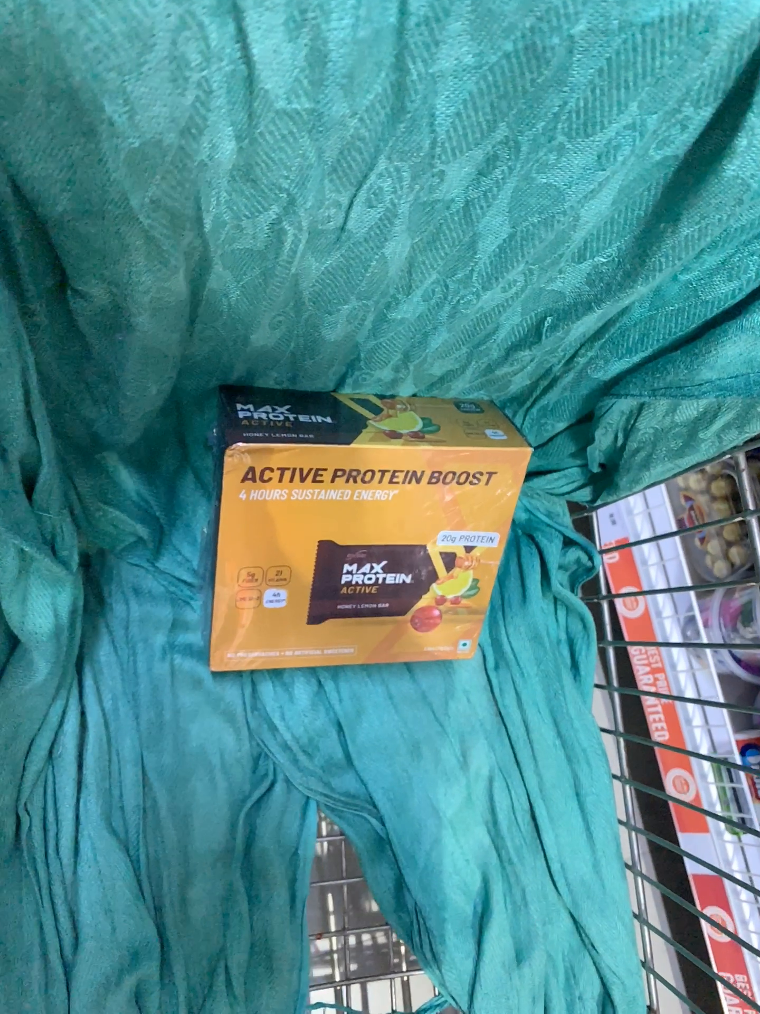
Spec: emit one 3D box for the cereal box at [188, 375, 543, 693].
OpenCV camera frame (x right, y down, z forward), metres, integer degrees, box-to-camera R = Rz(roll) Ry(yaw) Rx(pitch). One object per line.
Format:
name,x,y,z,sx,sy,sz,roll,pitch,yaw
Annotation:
cereal box,-0.018,0.014,0.419,0.160,0.080,0.140,0,118,-16
